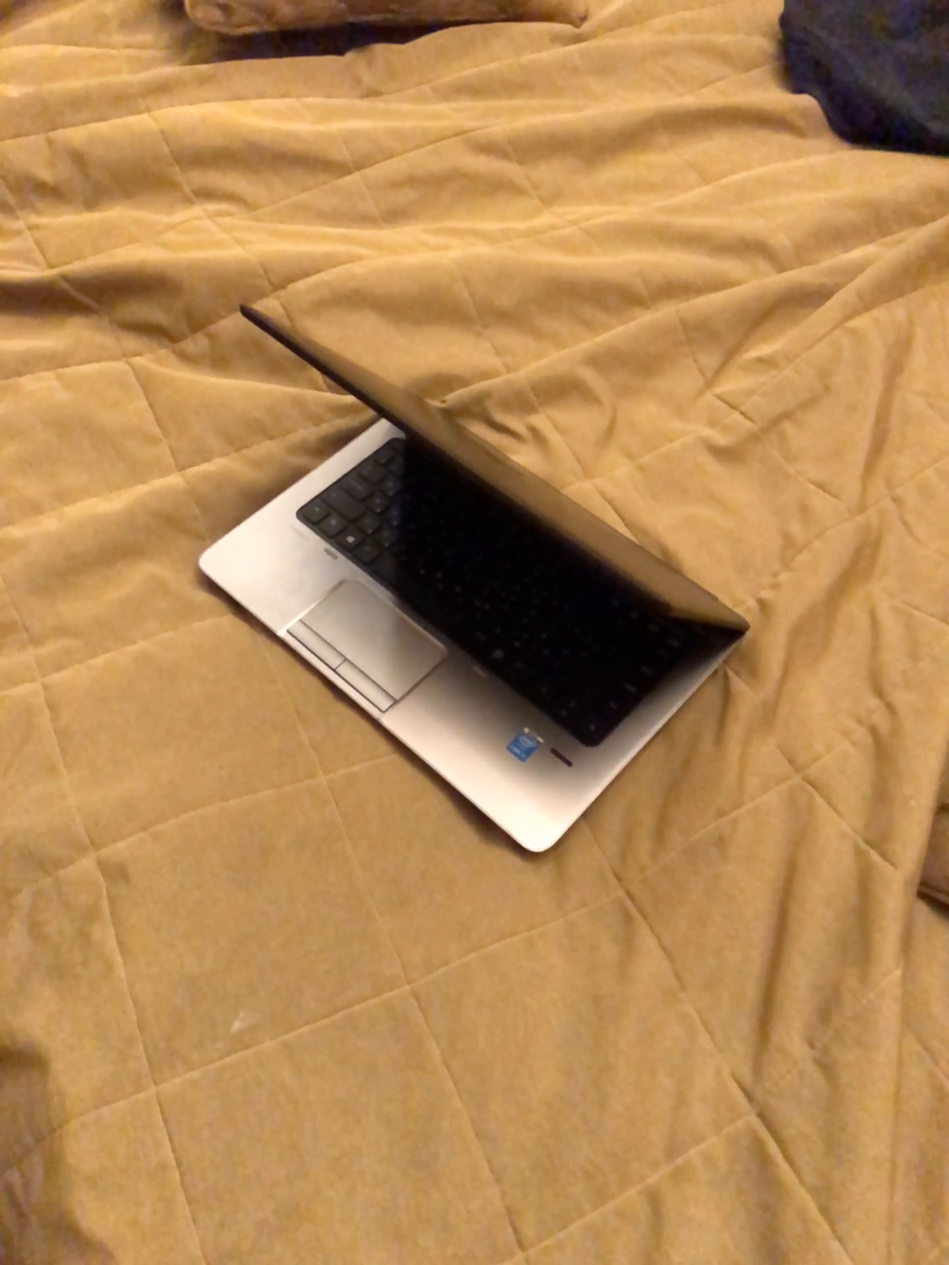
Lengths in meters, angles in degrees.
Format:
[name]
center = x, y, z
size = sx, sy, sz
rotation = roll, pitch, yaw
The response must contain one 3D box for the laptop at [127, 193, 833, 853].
[laptop]
center = -0.002, -0.077, 0.668
size = 0.331, 0.189, 0.225
rotation = 37, 64, 20
